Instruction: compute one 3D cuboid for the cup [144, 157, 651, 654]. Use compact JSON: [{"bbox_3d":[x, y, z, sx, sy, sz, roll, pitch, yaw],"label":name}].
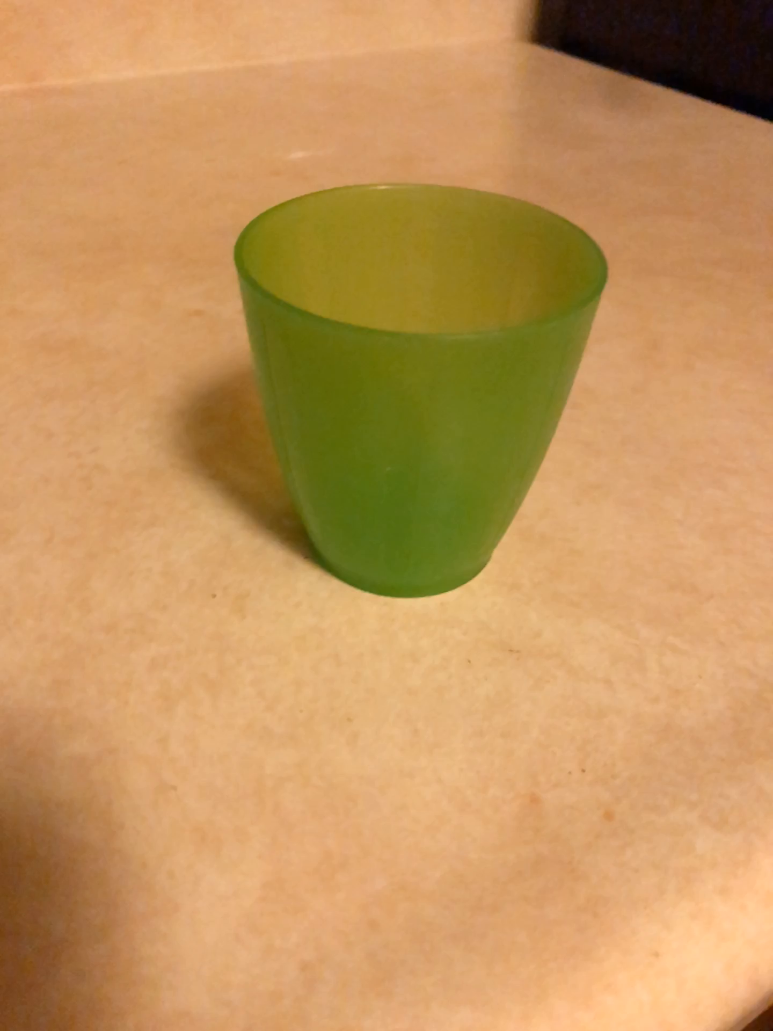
[{"bbox_3d":[0.006,-0.032,0.205,0.080,0.070,0.080,1,39,-1],"label":"cup"}]
